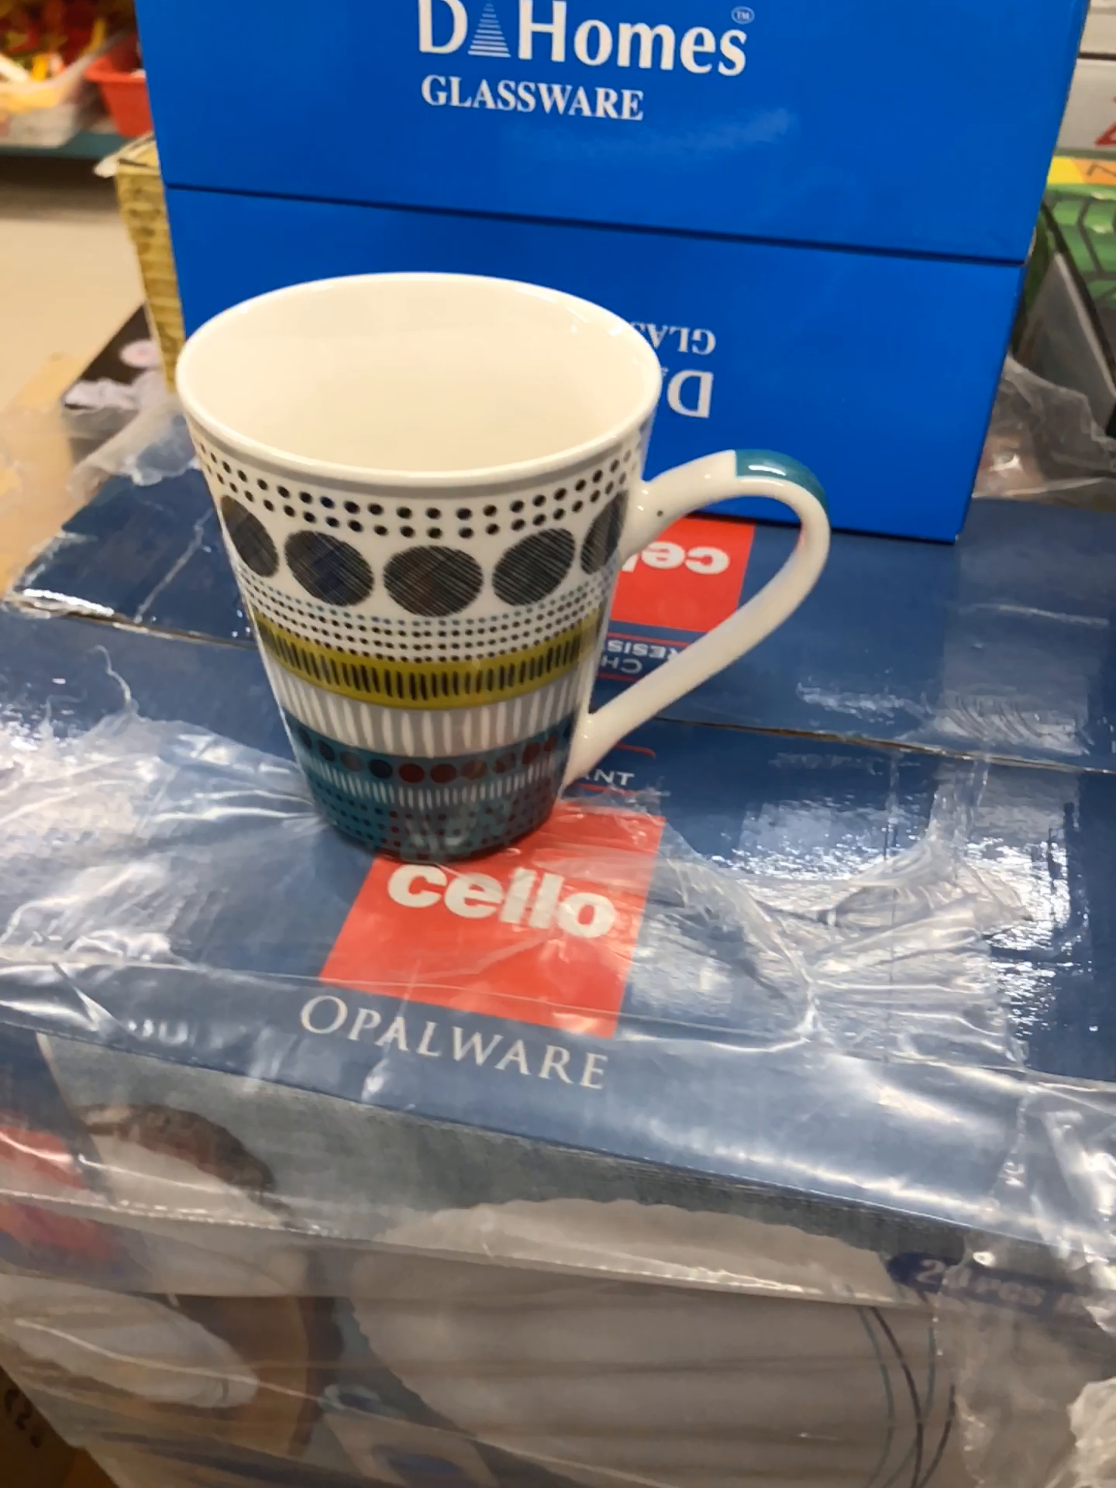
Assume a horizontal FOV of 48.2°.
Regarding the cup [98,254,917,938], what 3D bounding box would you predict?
[{"bbox_3d":[-0.003,-0.031,0.244,0.120,0.089,0.091,4,43,5],"label":"cup"}]
